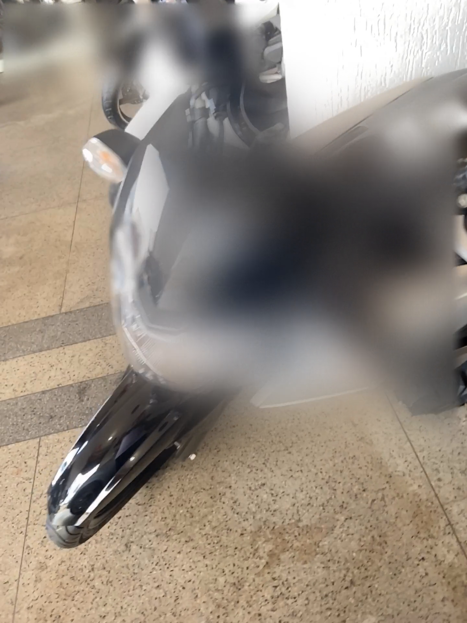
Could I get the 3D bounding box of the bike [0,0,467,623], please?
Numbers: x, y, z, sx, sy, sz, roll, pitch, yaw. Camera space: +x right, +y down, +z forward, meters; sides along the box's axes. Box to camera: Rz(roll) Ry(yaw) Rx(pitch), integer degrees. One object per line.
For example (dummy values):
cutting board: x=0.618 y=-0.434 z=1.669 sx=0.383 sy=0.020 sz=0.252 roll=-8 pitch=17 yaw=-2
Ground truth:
bike: x=0.579 y=0.063 z=0.779 sx=2.002 sy=1.331 sz=0.820 roll=-18 pitch=43 yaw=-4
